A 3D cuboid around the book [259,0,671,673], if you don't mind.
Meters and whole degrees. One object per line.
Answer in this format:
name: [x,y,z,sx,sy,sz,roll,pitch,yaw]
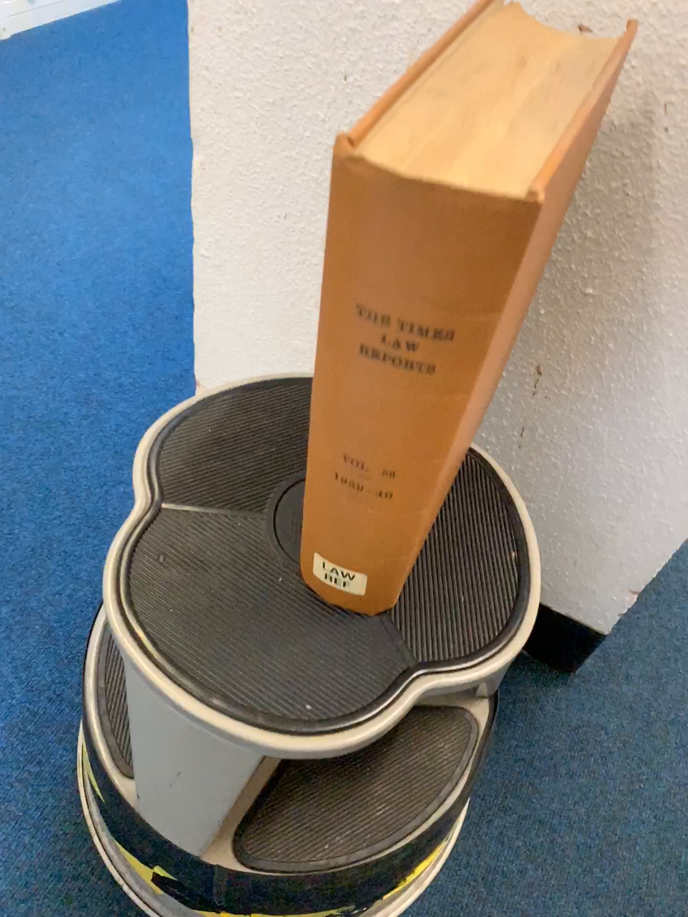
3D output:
book: [0.052,-0.063,0.405,0.090,0.337,0.221,23,49,10]
